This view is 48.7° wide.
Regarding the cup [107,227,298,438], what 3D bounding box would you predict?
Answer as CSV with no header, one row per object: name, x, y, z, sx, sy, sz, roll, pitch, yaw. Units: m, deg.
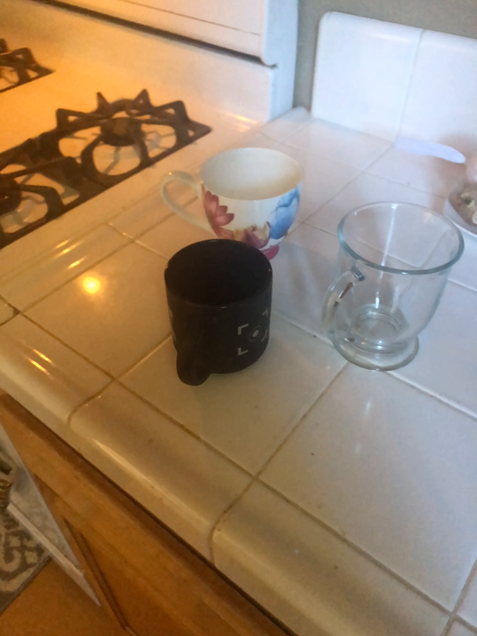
cup,-0.024,0.007,0.451,0.100,0.089,0.131,20,49,19

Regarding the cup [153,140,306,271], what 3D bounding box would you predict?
cup,-0.005,-0.124,0.567,0.140,0.079,0.111,6,46,6

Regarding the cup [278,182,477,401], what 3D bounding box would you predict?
cup,0.114,-0.024,0.448,0.120,0.119,0.101,-21,49,-19
